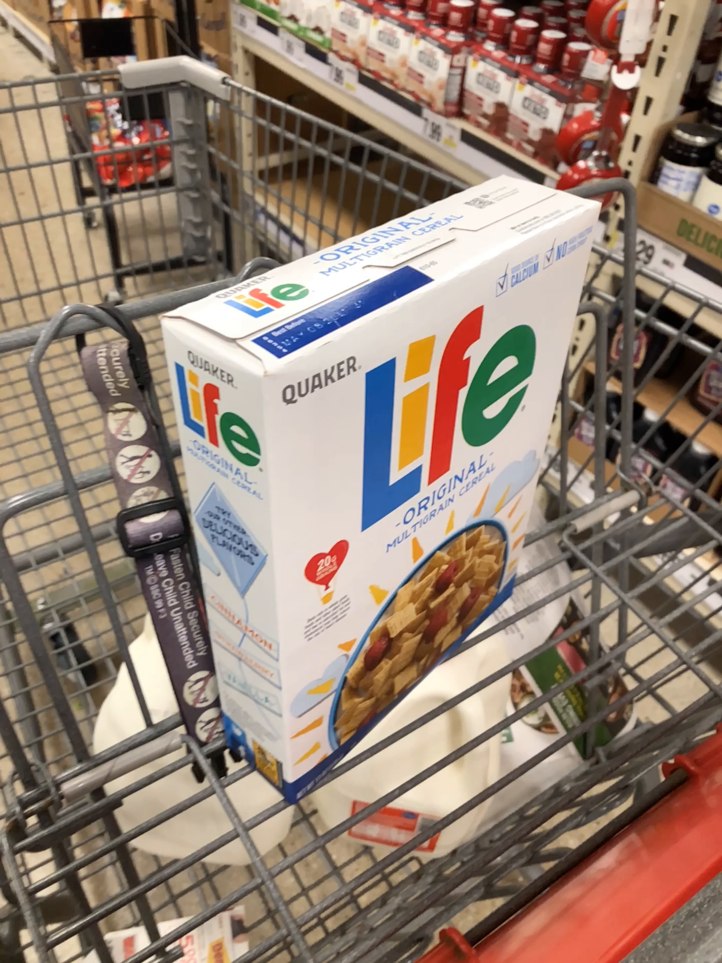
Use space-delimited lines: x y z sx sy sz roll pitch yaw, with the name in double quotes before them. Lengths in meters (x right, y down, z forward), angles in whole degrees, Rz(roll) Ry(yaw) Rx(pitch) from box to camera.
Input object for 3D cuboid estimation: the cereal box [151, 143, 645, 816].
"cereal box" 0.023 0.003 0.353 0.050 0.240 0.200 32 49 31
